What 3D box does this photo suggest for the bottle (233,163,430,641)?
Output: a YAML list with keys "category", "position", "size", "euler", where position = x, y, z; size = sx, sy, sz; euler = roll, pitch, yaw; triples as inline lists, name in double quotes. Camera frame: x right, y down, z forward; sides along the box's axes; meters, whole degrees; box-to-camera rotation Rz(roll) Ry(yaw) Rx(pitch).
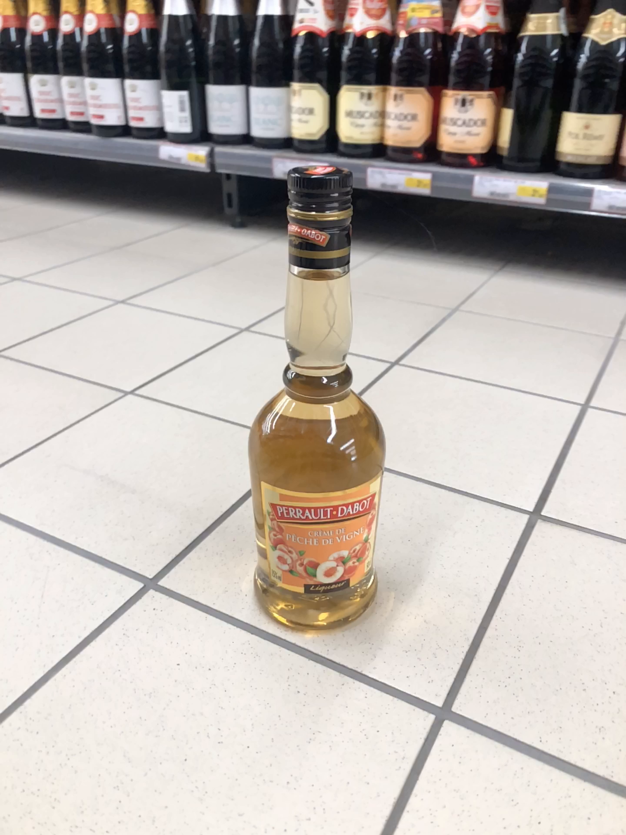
- category: "bottle"
  position: [0.004, -0.004, 0.382]
  size: [0.080, 0.249, 0.080]
  euler: [0, 27, 0]
